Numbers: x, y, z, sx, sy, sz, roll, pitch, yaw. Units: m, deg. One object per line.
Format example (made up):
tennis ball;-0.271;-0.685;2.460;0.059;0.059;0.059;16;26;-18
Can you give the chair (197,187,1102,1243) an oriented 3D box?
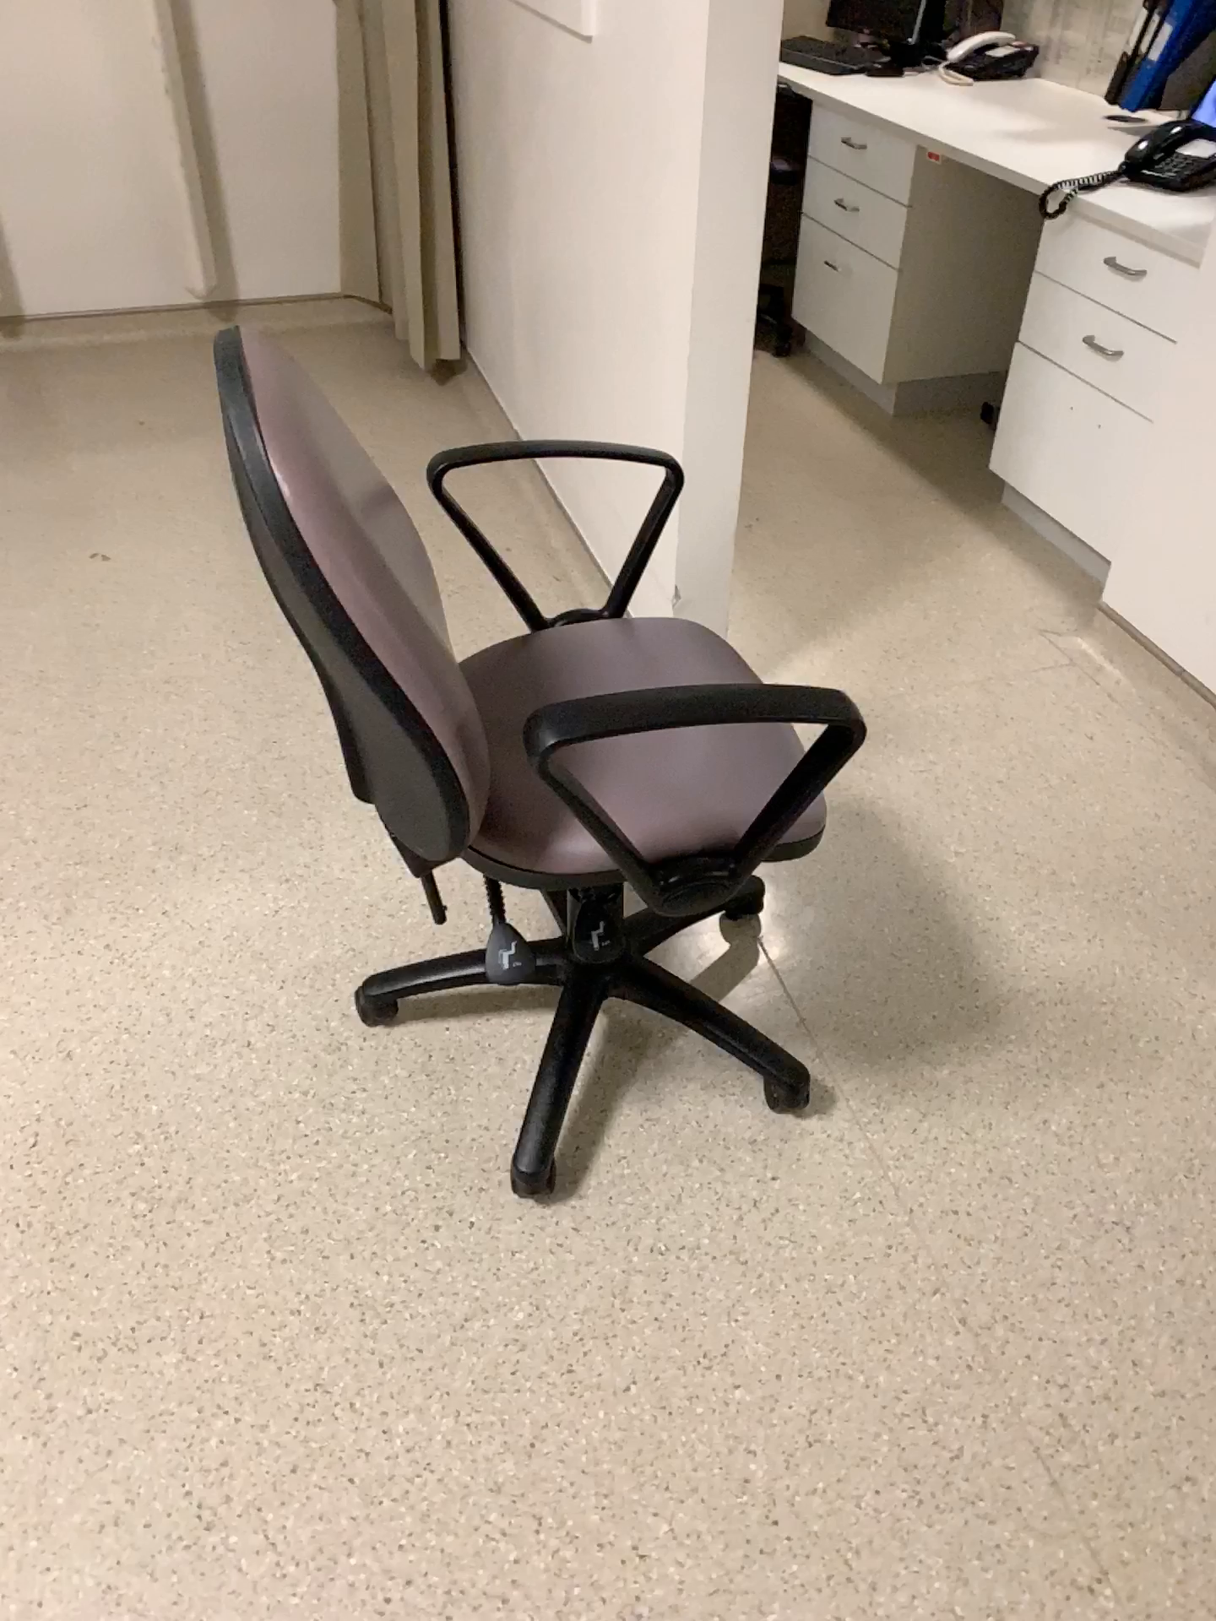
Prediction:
chair;-0.028;-0.124;1.396;0.654;0.899;0.637;-10;40;-14
